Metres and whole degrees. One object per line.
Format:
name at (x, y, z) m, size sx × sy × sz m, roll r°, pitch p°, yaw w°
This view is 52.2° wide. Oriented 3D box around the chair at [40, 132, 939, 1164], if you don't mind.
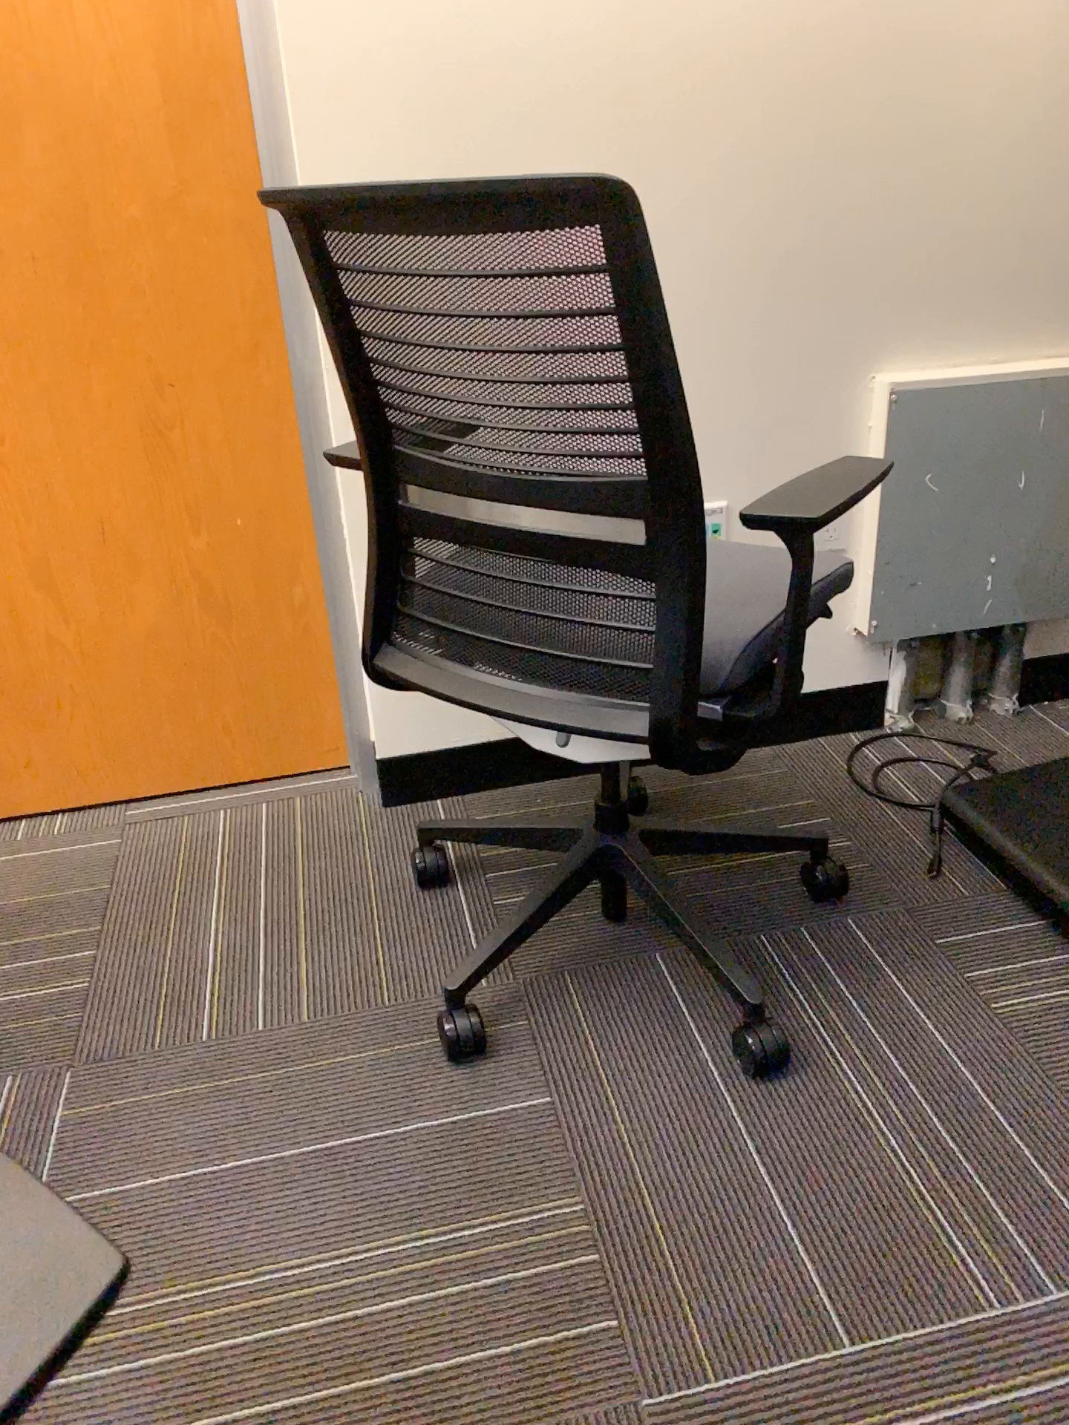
chair at (0.055, -0.170, 1.419) m, size 0.741 × 0.994 × 0.783 m, roll 7°, pitch 29°, yaw 20°
